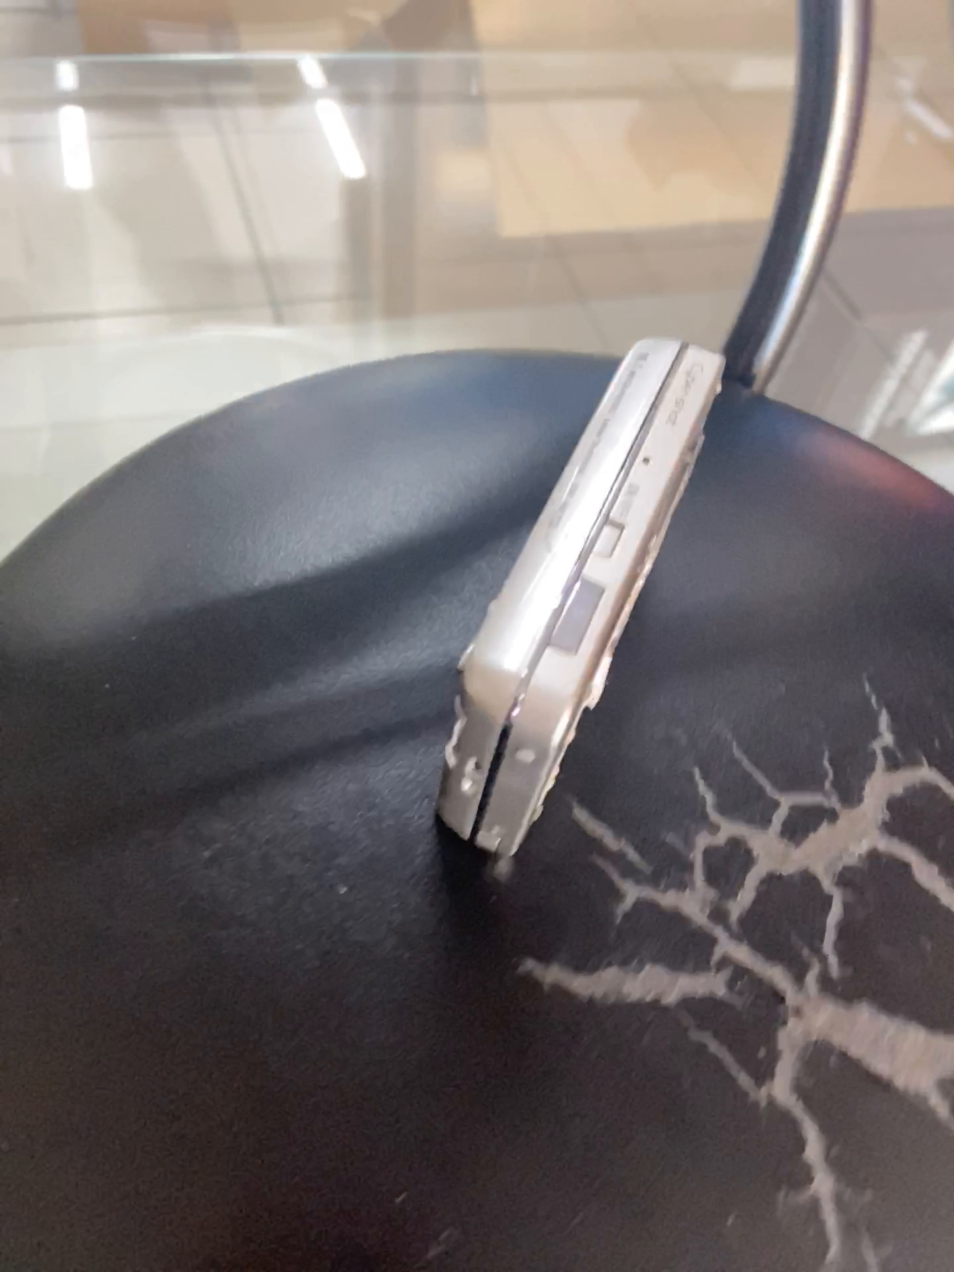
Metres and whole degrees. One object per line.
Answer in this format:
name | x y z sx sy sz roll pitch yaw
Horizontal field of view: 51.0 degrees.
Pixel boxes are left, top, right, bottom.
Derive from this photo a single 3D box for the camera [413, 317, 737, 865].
camera | 0.019 -0.011 0.179 0.022 0.042 0.093 22 54 6
